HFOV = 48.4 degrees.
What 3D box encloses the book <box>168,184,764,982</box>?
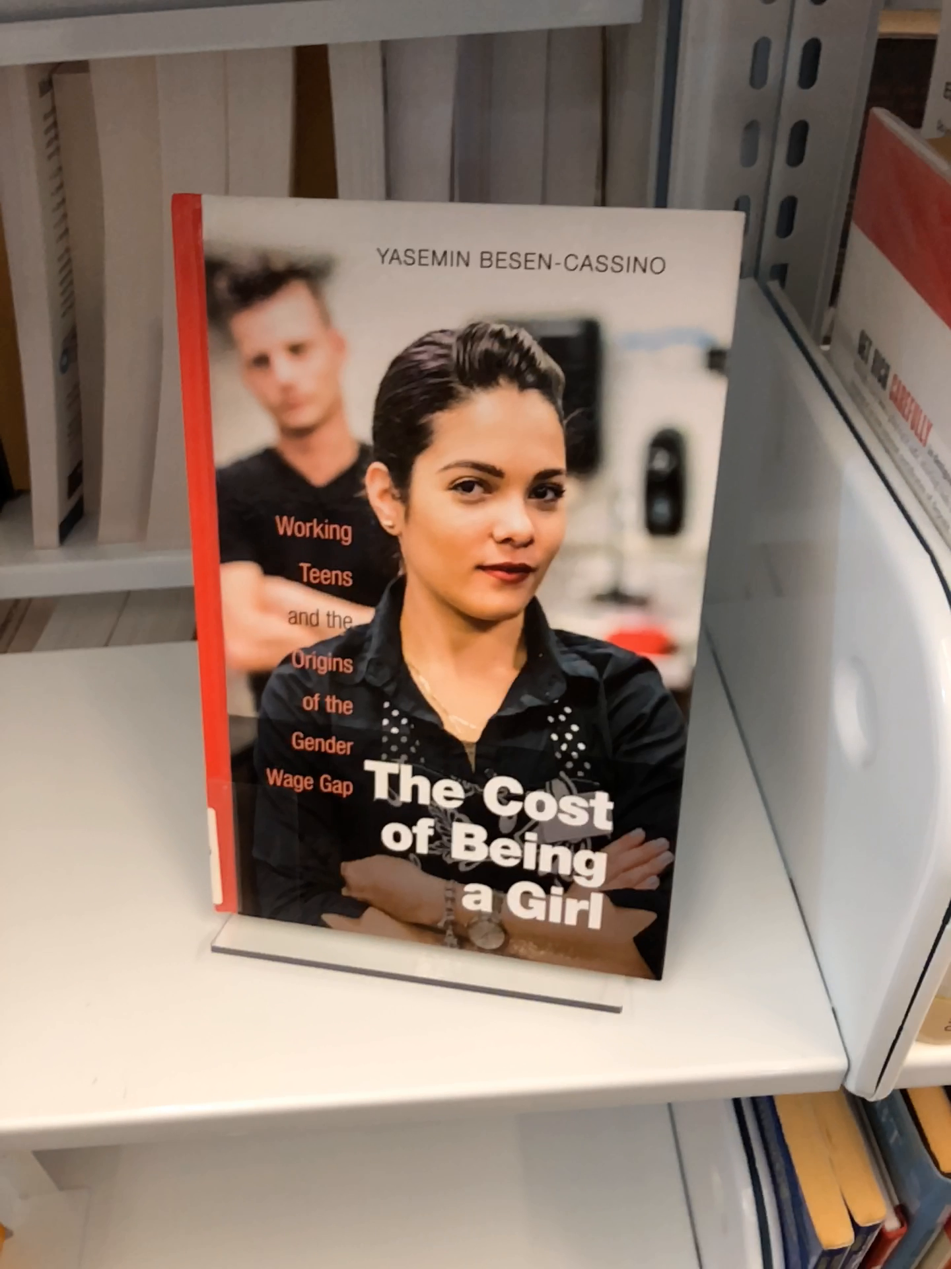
[{"bbox_3d":[-0.006,-0.011,0.323,0.156,0.230,0.030,5,20,11],"label":"book"}]
